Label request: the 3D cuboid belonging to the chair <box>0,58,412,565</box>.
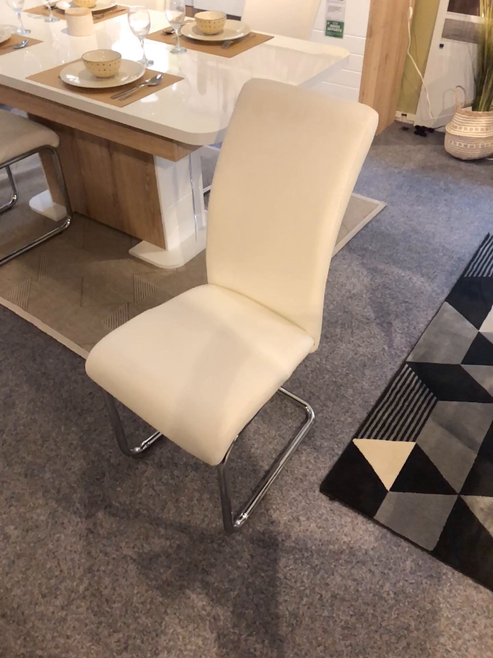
[{"bbox_3d":[-0.051,-0.022,1.262,0.500,0.925,0.553,25,48,25],"label":"chair"}]
